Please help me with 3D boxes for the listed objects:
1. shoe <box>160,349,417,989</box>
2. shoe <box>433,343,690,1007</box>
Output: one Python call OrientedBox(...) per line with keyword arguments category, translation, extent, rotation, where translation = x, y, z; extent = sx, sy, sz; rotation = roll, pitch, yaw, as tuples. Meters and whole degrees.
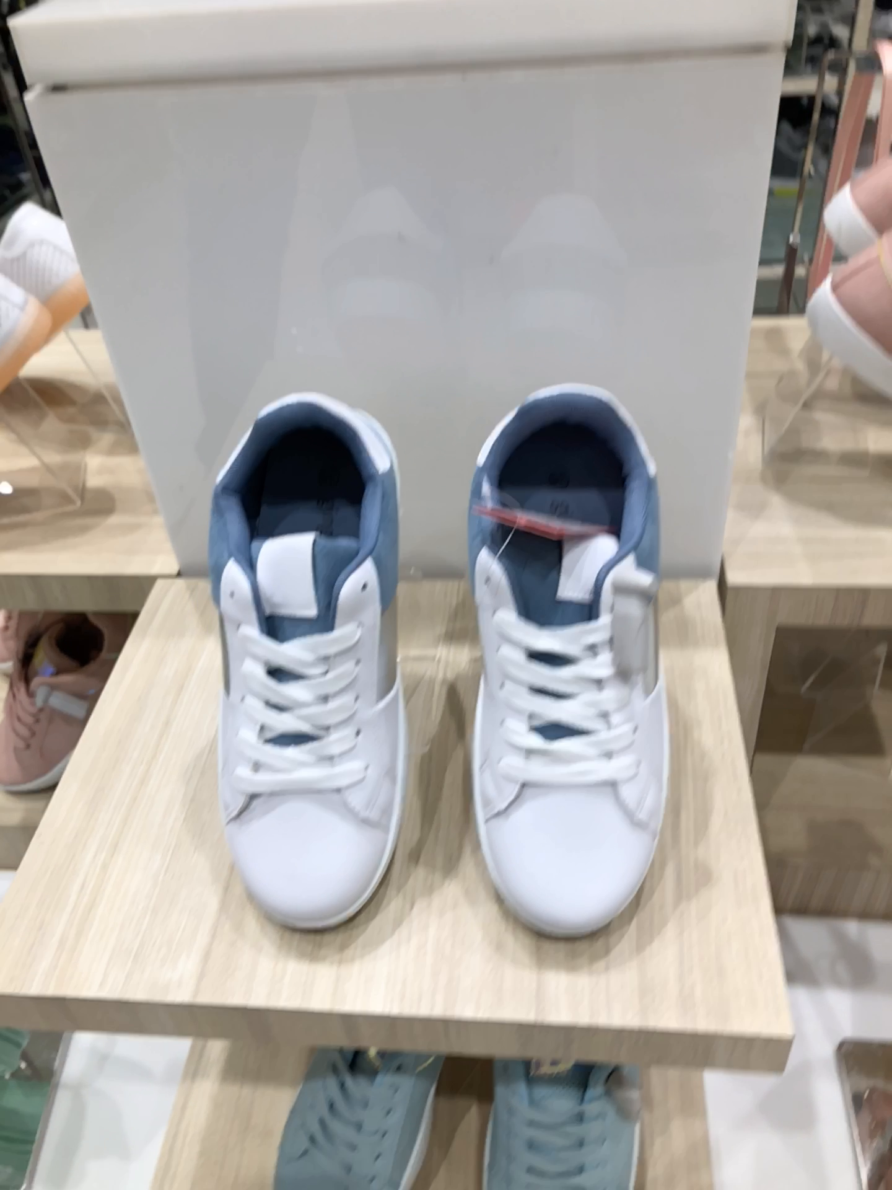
OrientedBox(category="shoe", translation=(-0.068, 0.031, 0.459), extent=(0.092, 0.261, 0.104), rotation=(-2, -3, 4))
OrientedBox(category="shoe", translation=(0.052, 0.031, 0.449), extent=(0.102, 0.263, 0.104), rotation=(0, -1, 7))
